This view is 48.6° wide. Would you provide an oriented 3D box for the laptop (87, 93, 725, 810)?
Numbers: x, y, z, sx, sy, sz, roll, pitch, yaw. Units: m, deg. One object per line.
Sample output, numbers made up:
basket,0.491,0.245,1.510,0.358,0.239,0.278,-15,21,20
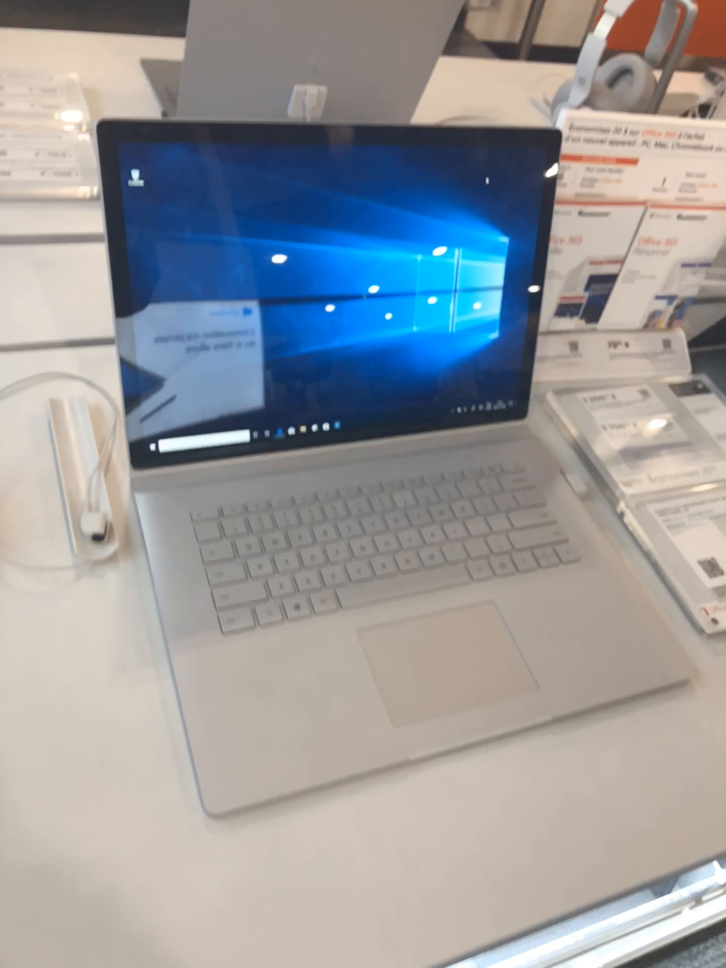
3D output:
laptop,0.029,-0.053,0.530,0.339,0.207,0.365,-8,52,-22
